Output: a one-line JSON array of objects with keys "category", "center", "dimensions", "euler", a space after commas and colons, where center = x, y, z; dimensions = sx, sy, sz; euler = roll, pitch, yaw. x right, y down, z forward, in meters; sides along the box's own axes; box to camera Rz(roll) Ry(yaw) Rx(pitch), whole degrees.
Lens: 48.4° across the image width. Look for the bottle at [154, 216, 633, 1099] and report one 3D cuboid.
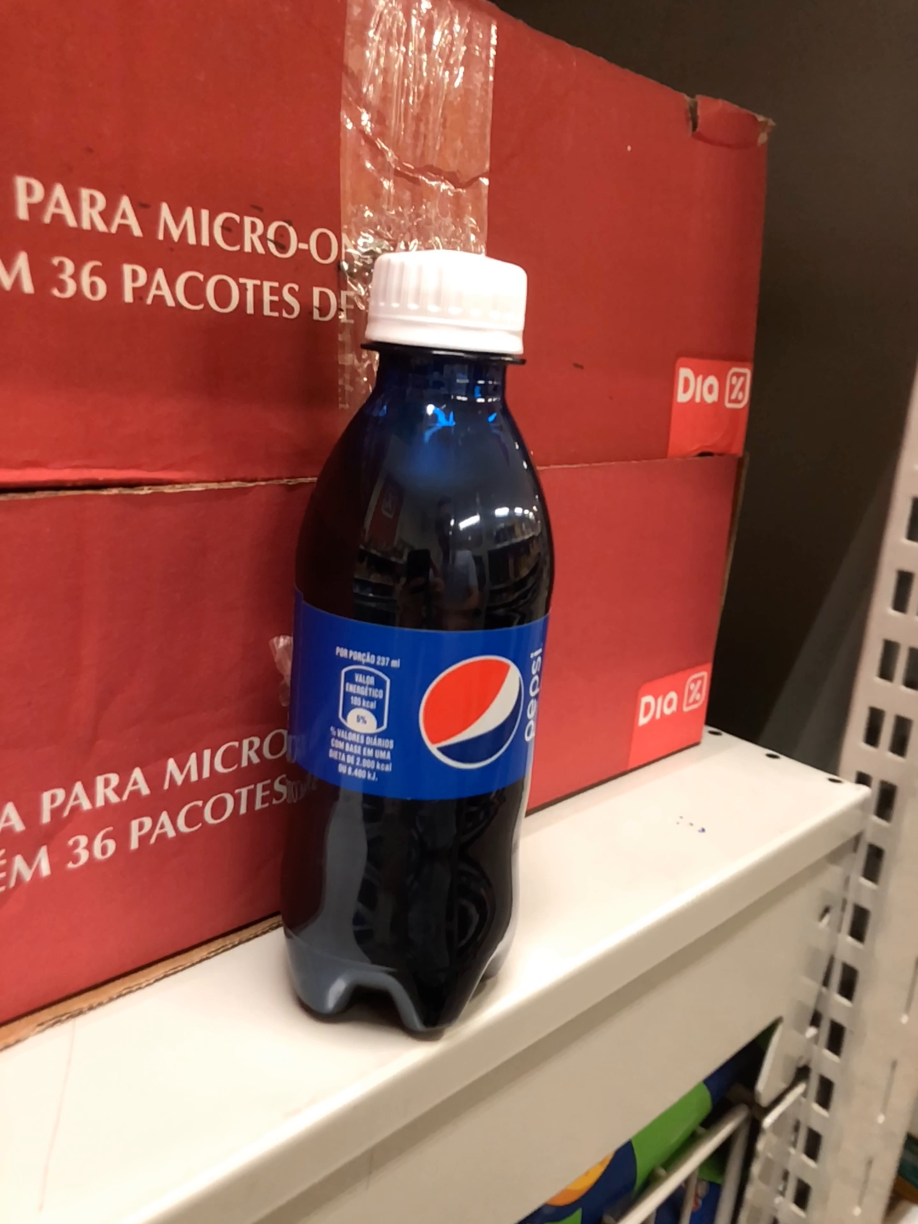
[{"category": "bottle", "center": [-0.014, 0.003, 0.203], "dimensions": [0.060, 0.149, 0.060], "euler": [2, 17, -1]}]
